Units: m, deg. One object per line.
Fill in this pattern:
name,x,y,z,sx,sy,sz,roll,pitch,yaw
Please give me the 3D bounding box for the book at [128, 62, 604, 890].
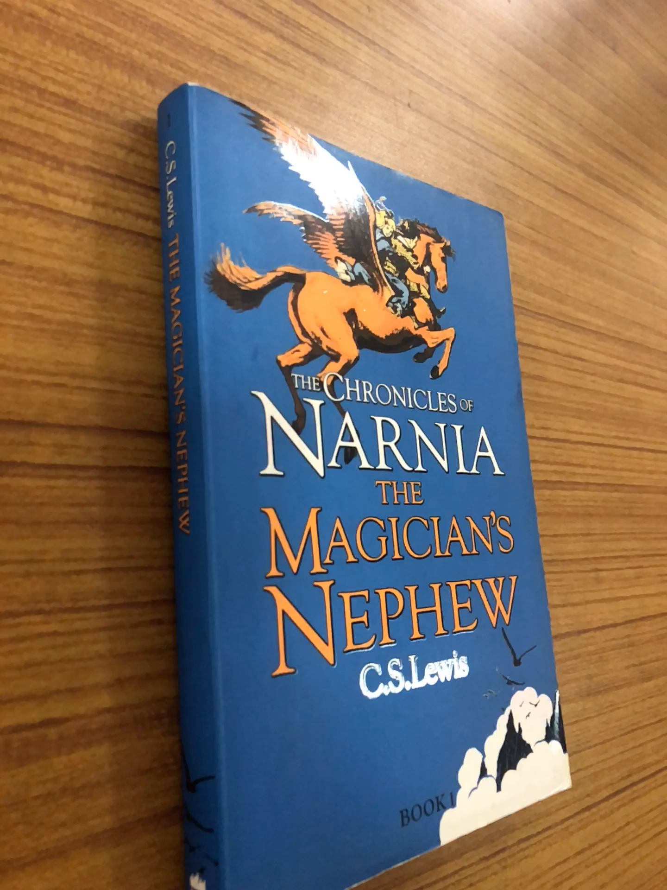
book,0.016,0.012,0.214,0.141,0.030,0.190,4,77,-42
